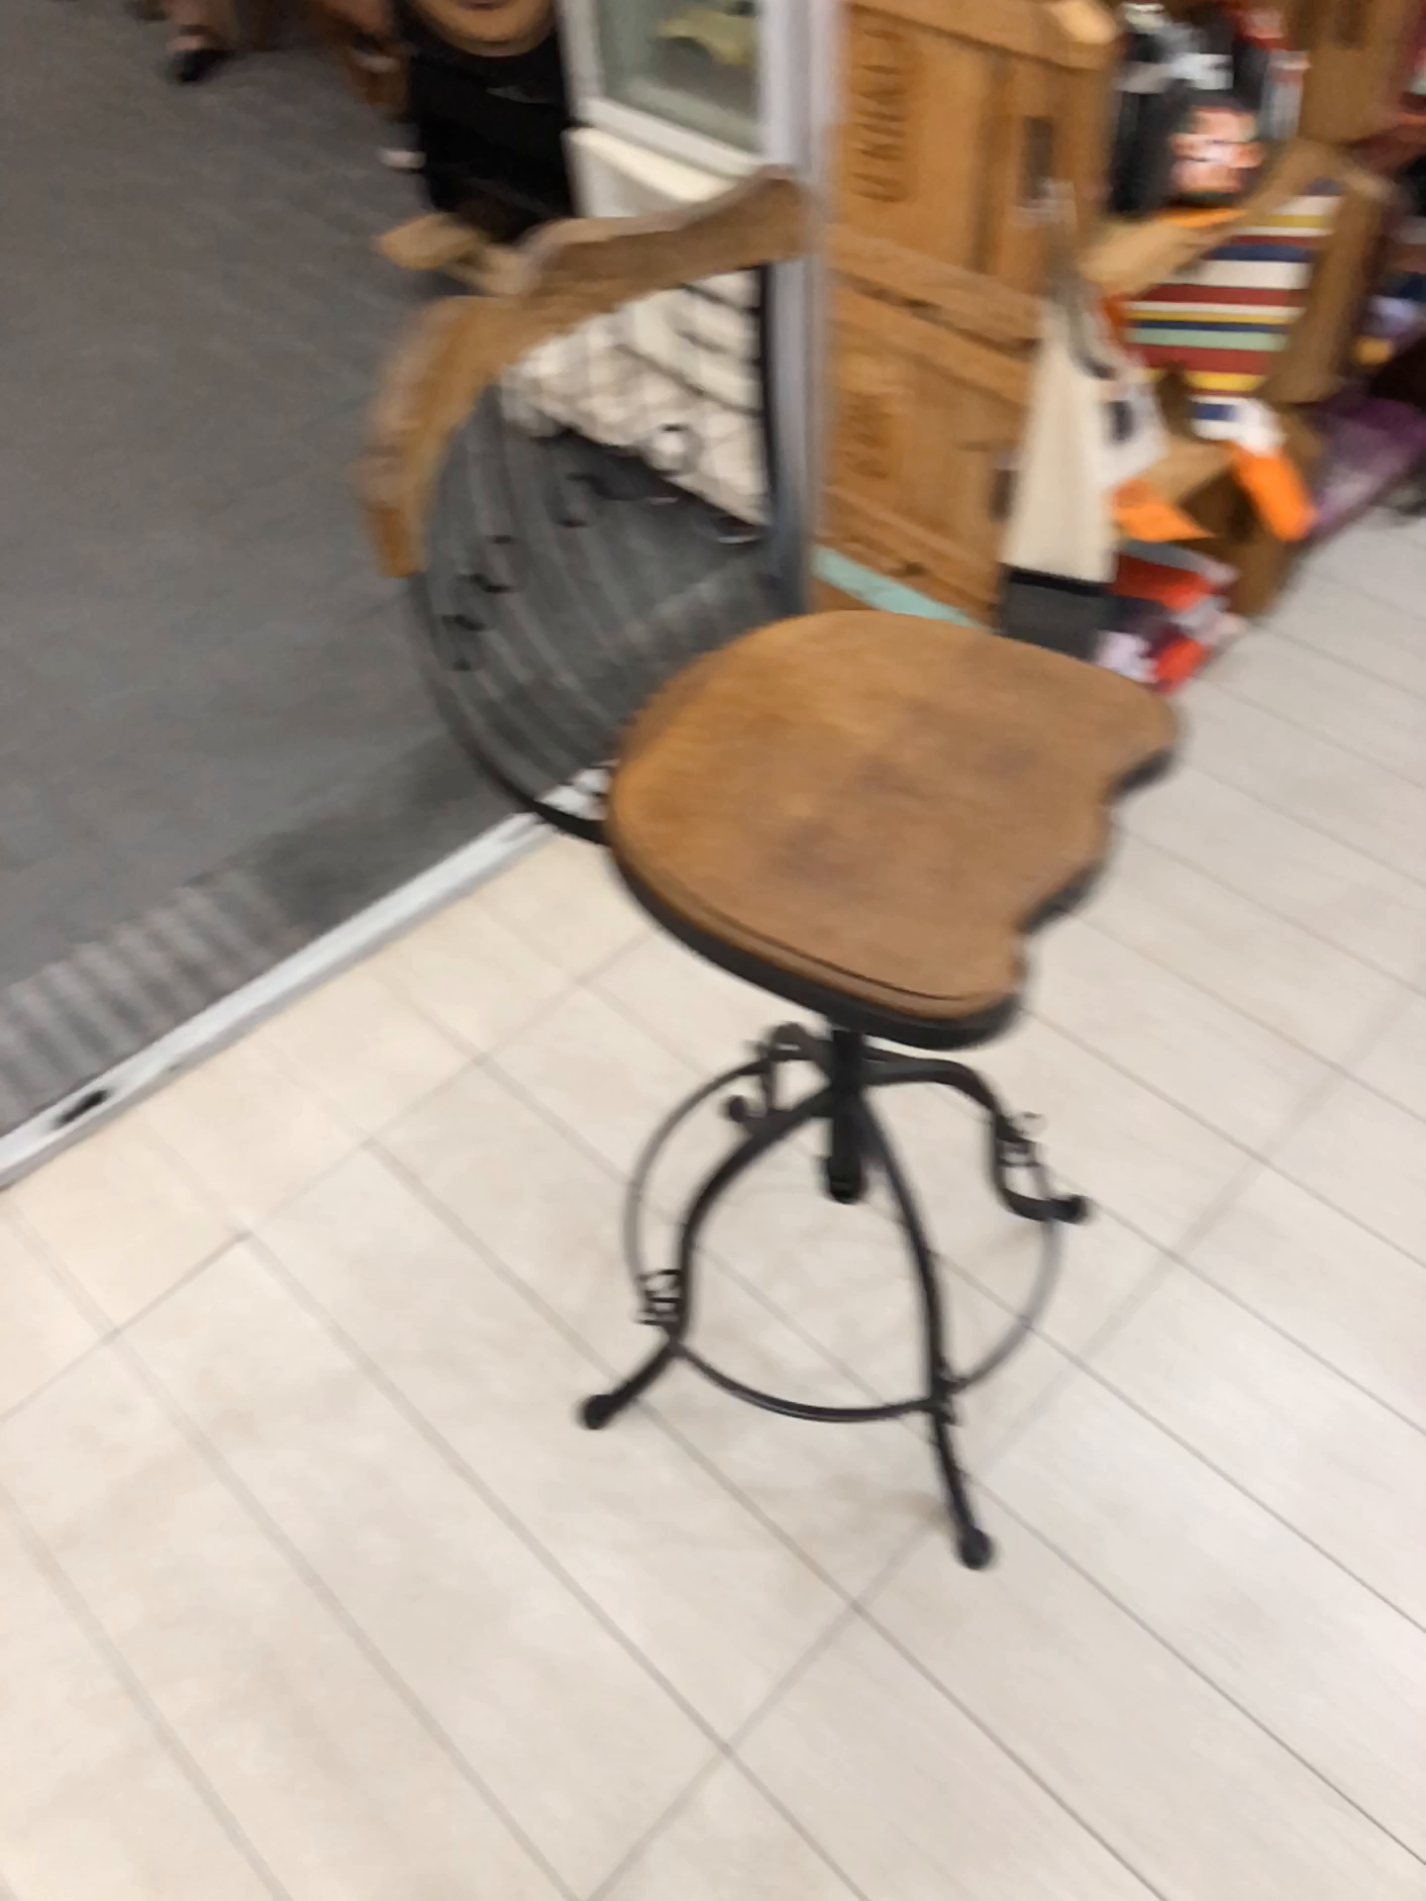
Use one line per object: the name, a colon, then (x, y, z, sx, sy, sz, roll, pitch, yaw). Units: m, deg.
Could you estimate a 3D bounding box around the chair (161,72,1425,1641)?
chair: (0.093, -0.010, 1.079, 0.471, 0.894, 0.462, 21, 52, 22)
